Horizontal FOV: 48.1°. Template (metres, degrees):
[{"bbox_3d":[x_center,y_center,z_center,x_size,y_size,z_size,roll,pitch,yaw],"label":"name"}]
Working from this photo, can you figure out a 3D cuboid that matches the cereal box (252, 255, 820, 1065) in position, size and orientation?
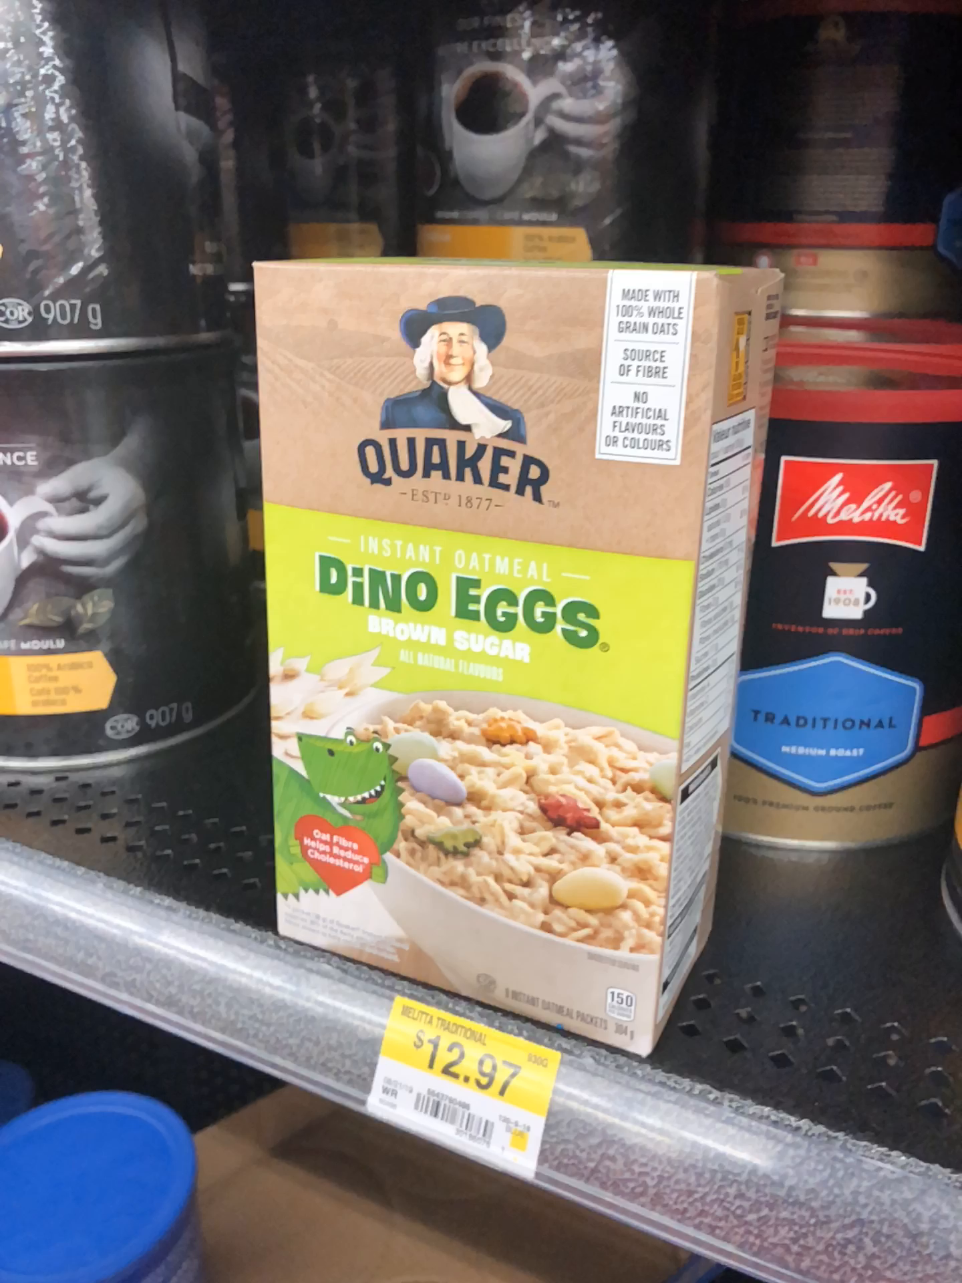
[{"bbox_3d":[0.012,-0.003,0.311,0.130,0.199,0.070,10,20,24],"label":"cereal box"}]
